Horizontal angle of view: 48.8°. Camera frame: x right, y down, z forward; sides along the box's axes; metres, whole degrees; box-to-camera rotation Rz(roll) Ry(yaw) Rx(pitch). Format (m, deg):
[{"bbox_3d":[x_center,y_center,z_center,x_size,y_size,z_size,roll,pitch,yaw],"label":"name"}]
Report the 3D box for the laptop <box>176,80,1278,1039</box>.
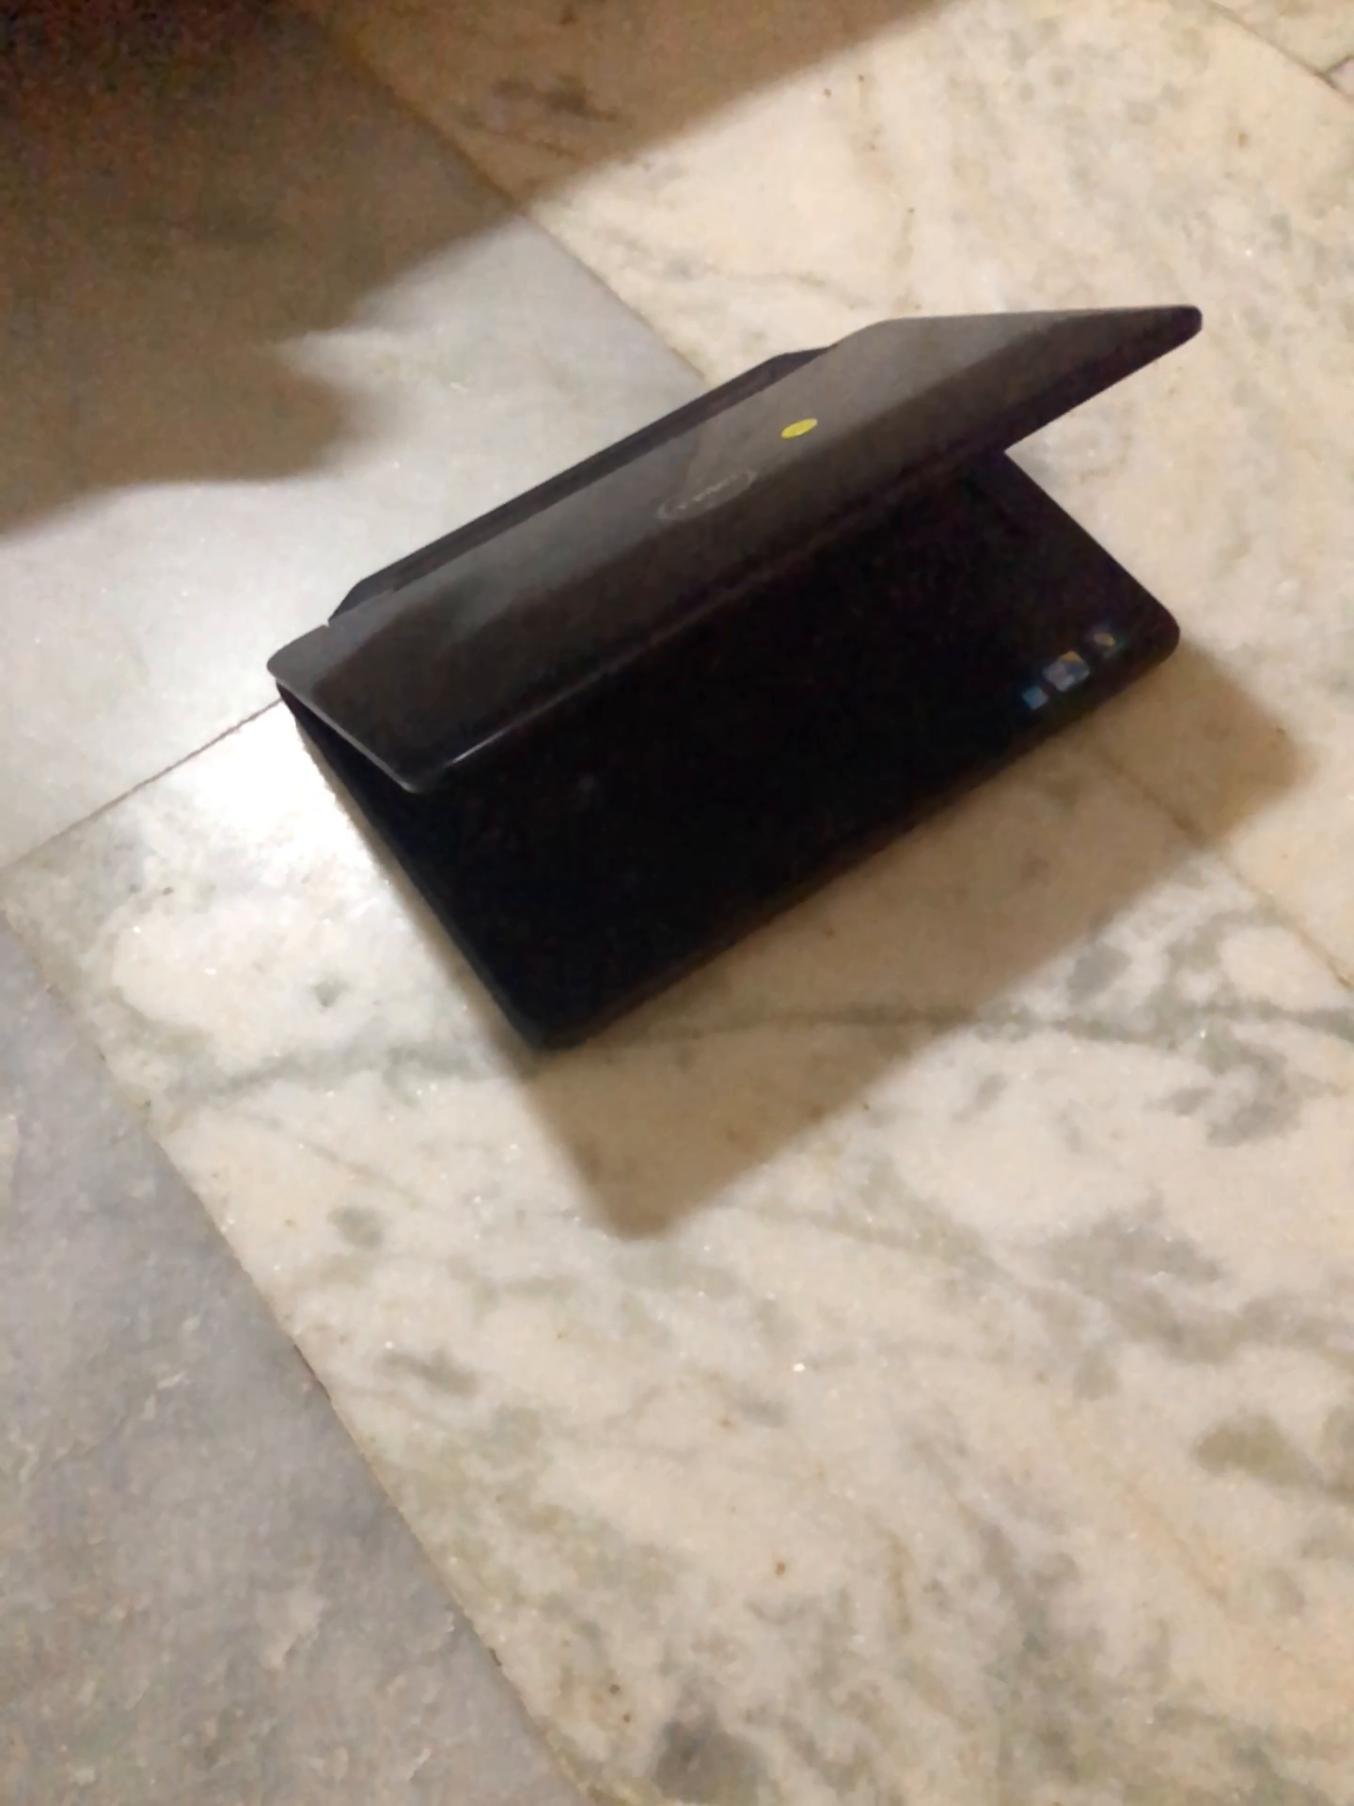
[{"bbox_3d":[0.021,-0.154,0.640,0.351,0.161,0.234,-34,67,-16],"label":"laptop"}]
